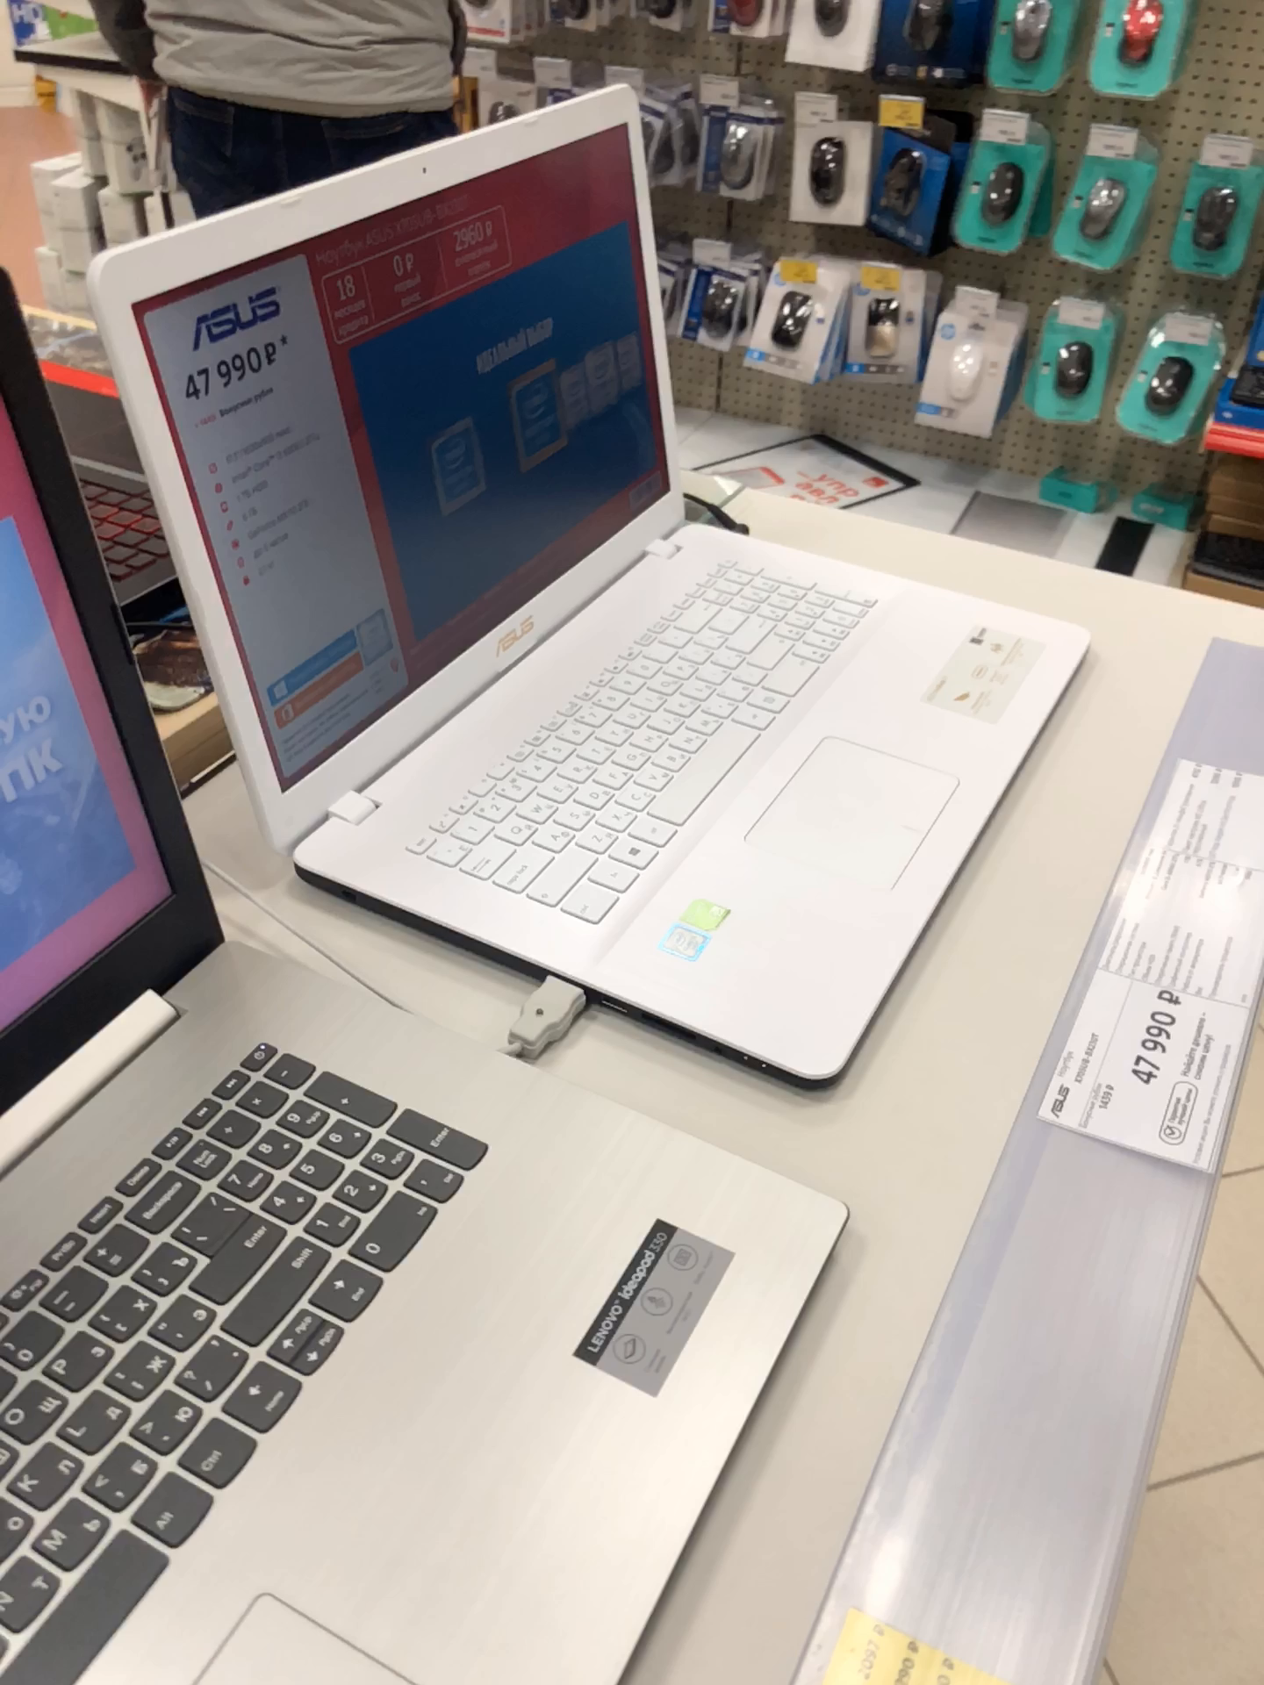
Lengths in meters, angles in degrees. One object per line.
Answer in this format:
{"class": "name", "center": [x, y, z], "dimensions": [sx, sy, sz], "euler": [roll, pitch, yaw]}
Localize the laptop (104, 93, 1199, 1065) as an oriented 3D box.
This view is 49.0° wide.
{"class": "laptop", "center": [0.041, -0.161, 0.641], "dimensions": [0.300, 0.235, 0.388], "euler": [20, 41, 19]}
